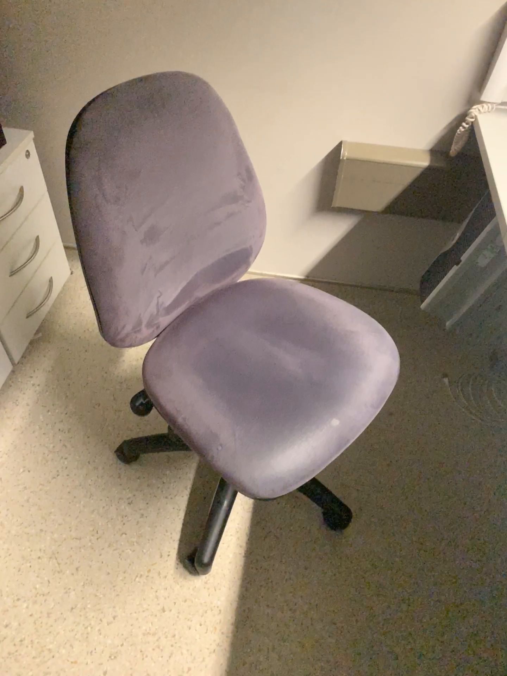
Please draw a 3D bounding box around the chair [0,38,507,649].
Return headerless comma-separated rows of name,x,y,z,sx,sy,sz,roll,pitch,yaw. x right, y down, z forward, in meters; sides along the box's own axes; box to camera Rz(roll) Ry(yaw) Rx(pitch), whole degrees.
chair,-0.005,0.027,1.110,0.683,0.902,0.673,35,56,24
